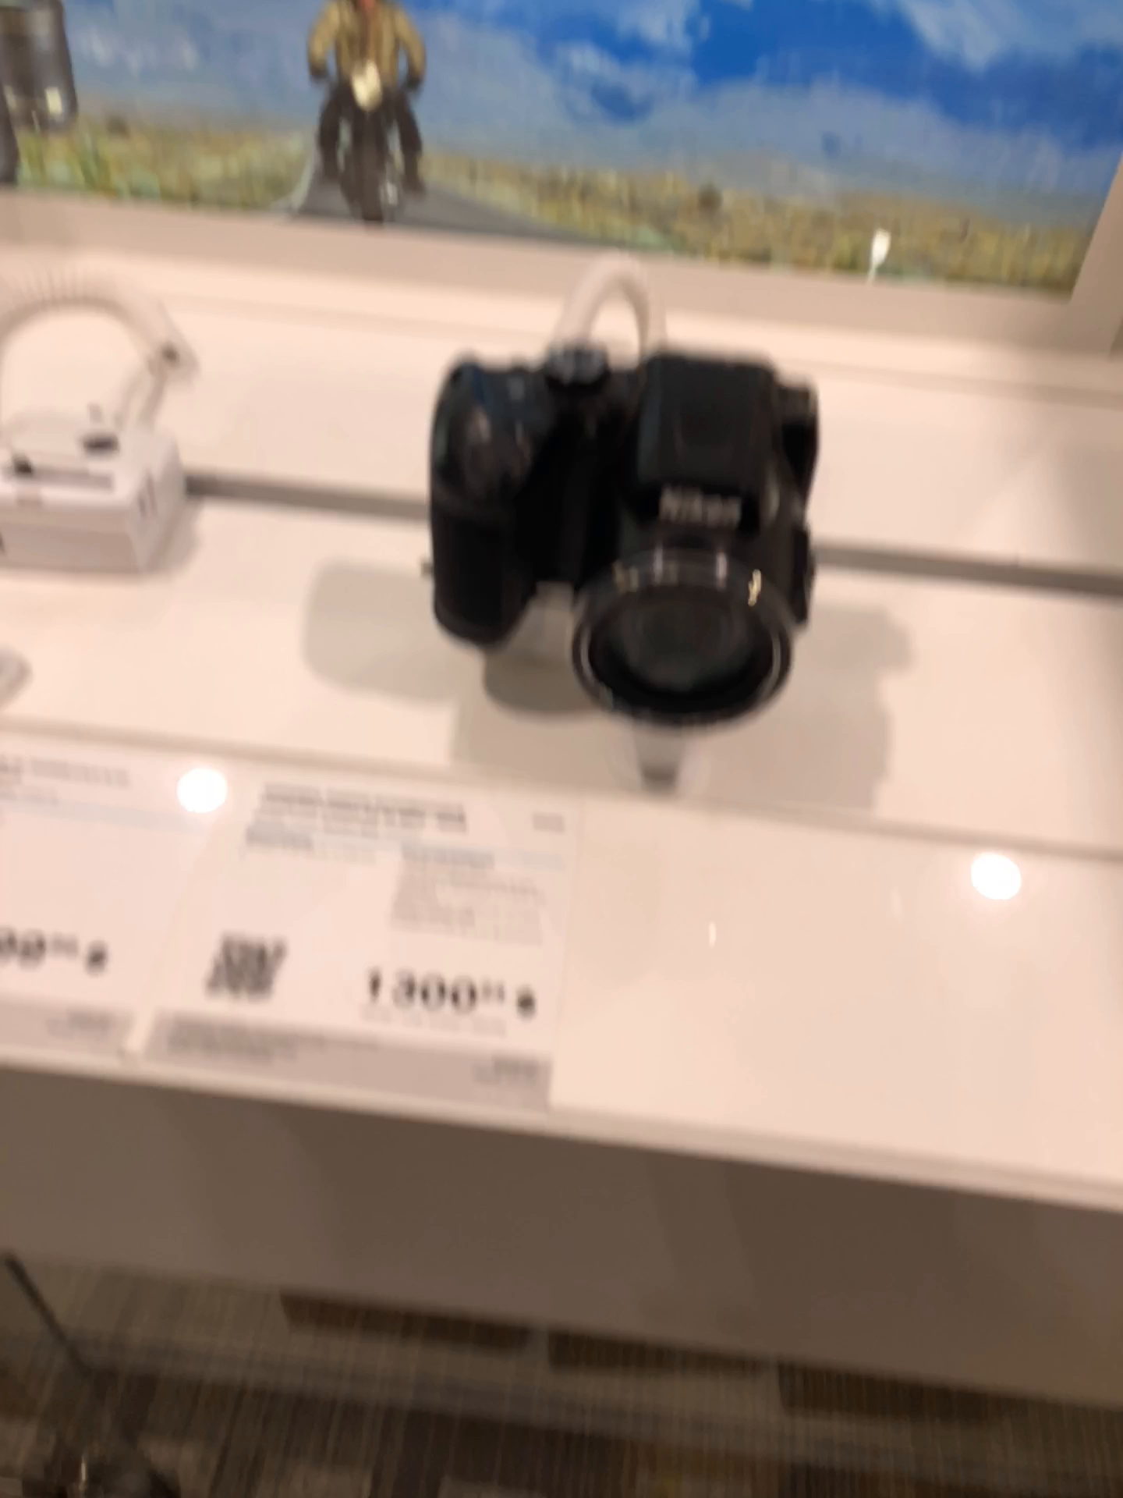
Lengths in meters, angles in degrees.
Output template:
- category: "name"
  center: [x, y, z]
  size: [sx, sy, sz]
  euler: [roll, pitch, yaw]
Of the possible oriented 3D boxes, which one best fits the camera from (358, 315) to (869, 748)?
- category: "camera"
  center: [0.014, -0.062, 0.335]
  size: [0.117, 0.067, 0.092]
  euler: [5, 45, 2]
